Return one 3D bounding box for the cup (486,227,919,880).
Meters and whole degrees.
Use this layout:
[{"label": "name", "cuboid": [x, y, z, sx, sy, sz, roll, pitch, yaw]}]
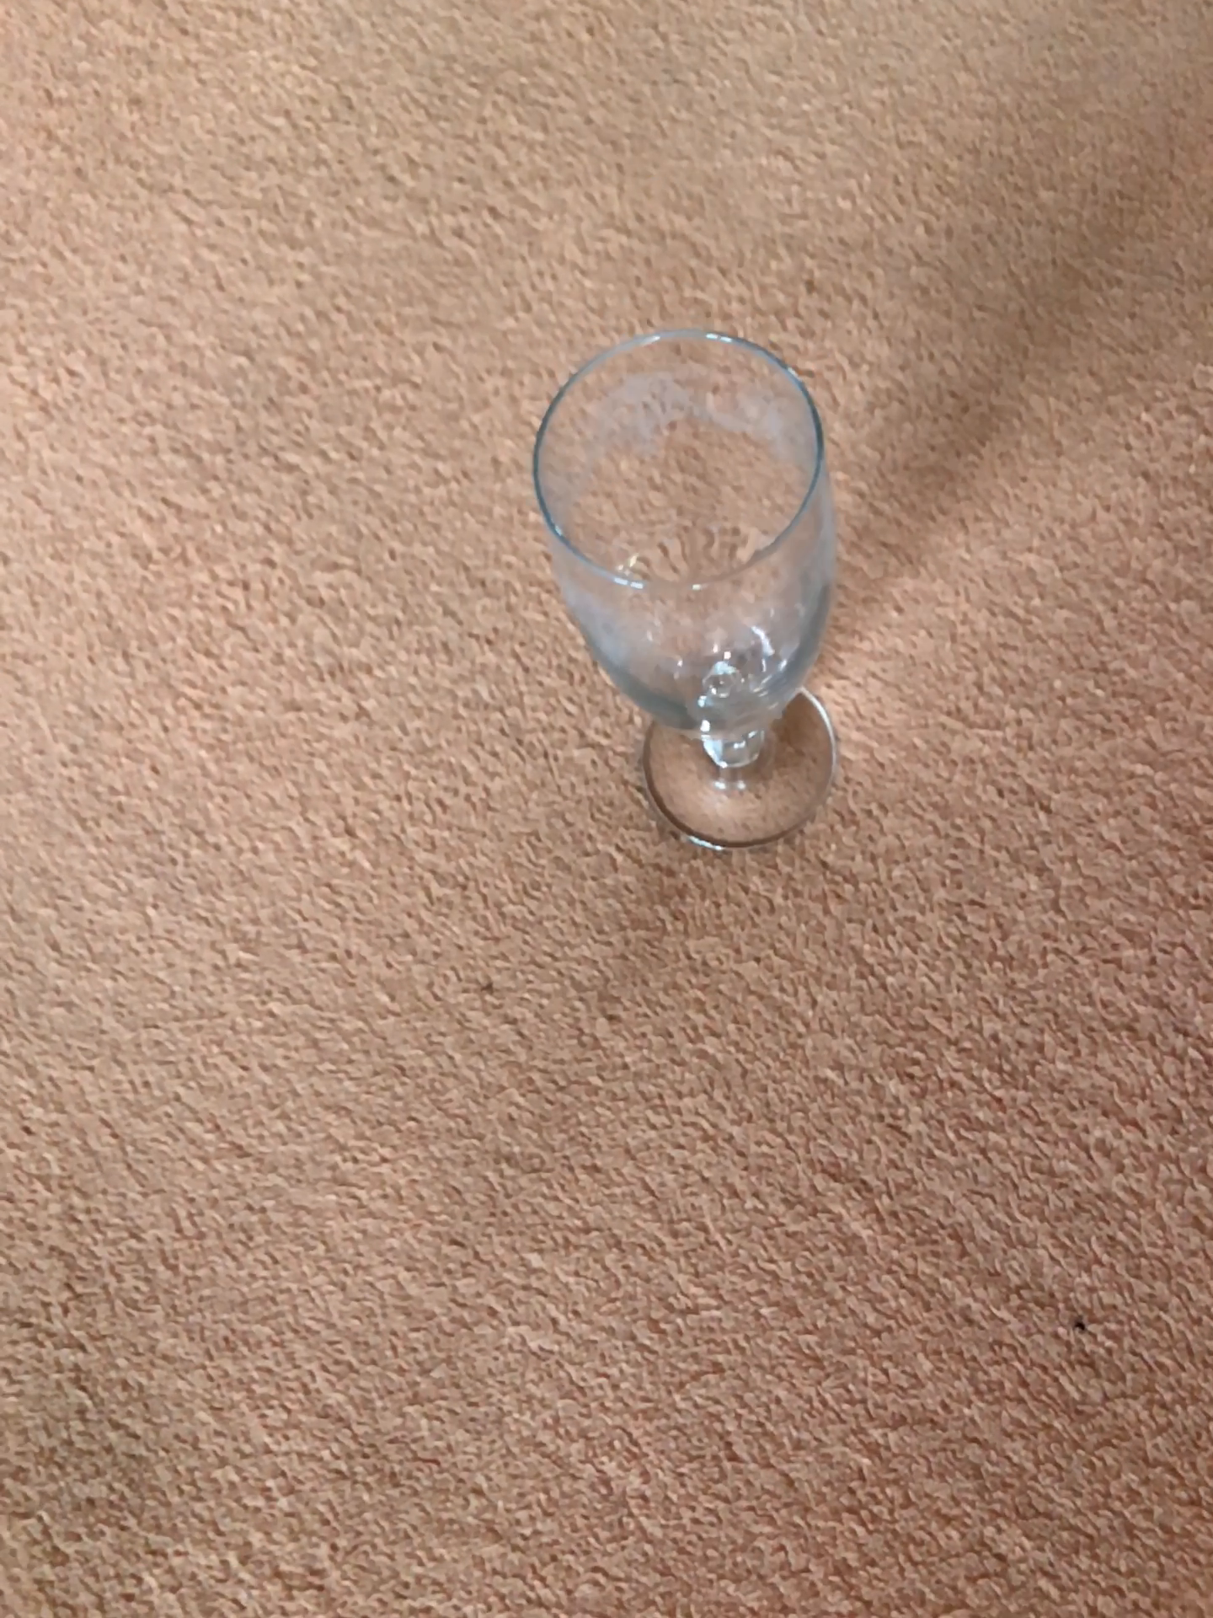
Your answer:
[{"label": "cup", "cuboid": [0.029, -0.042, 0.307, 0.060, 0.160, 0.060, -3, 71, 10]}]
